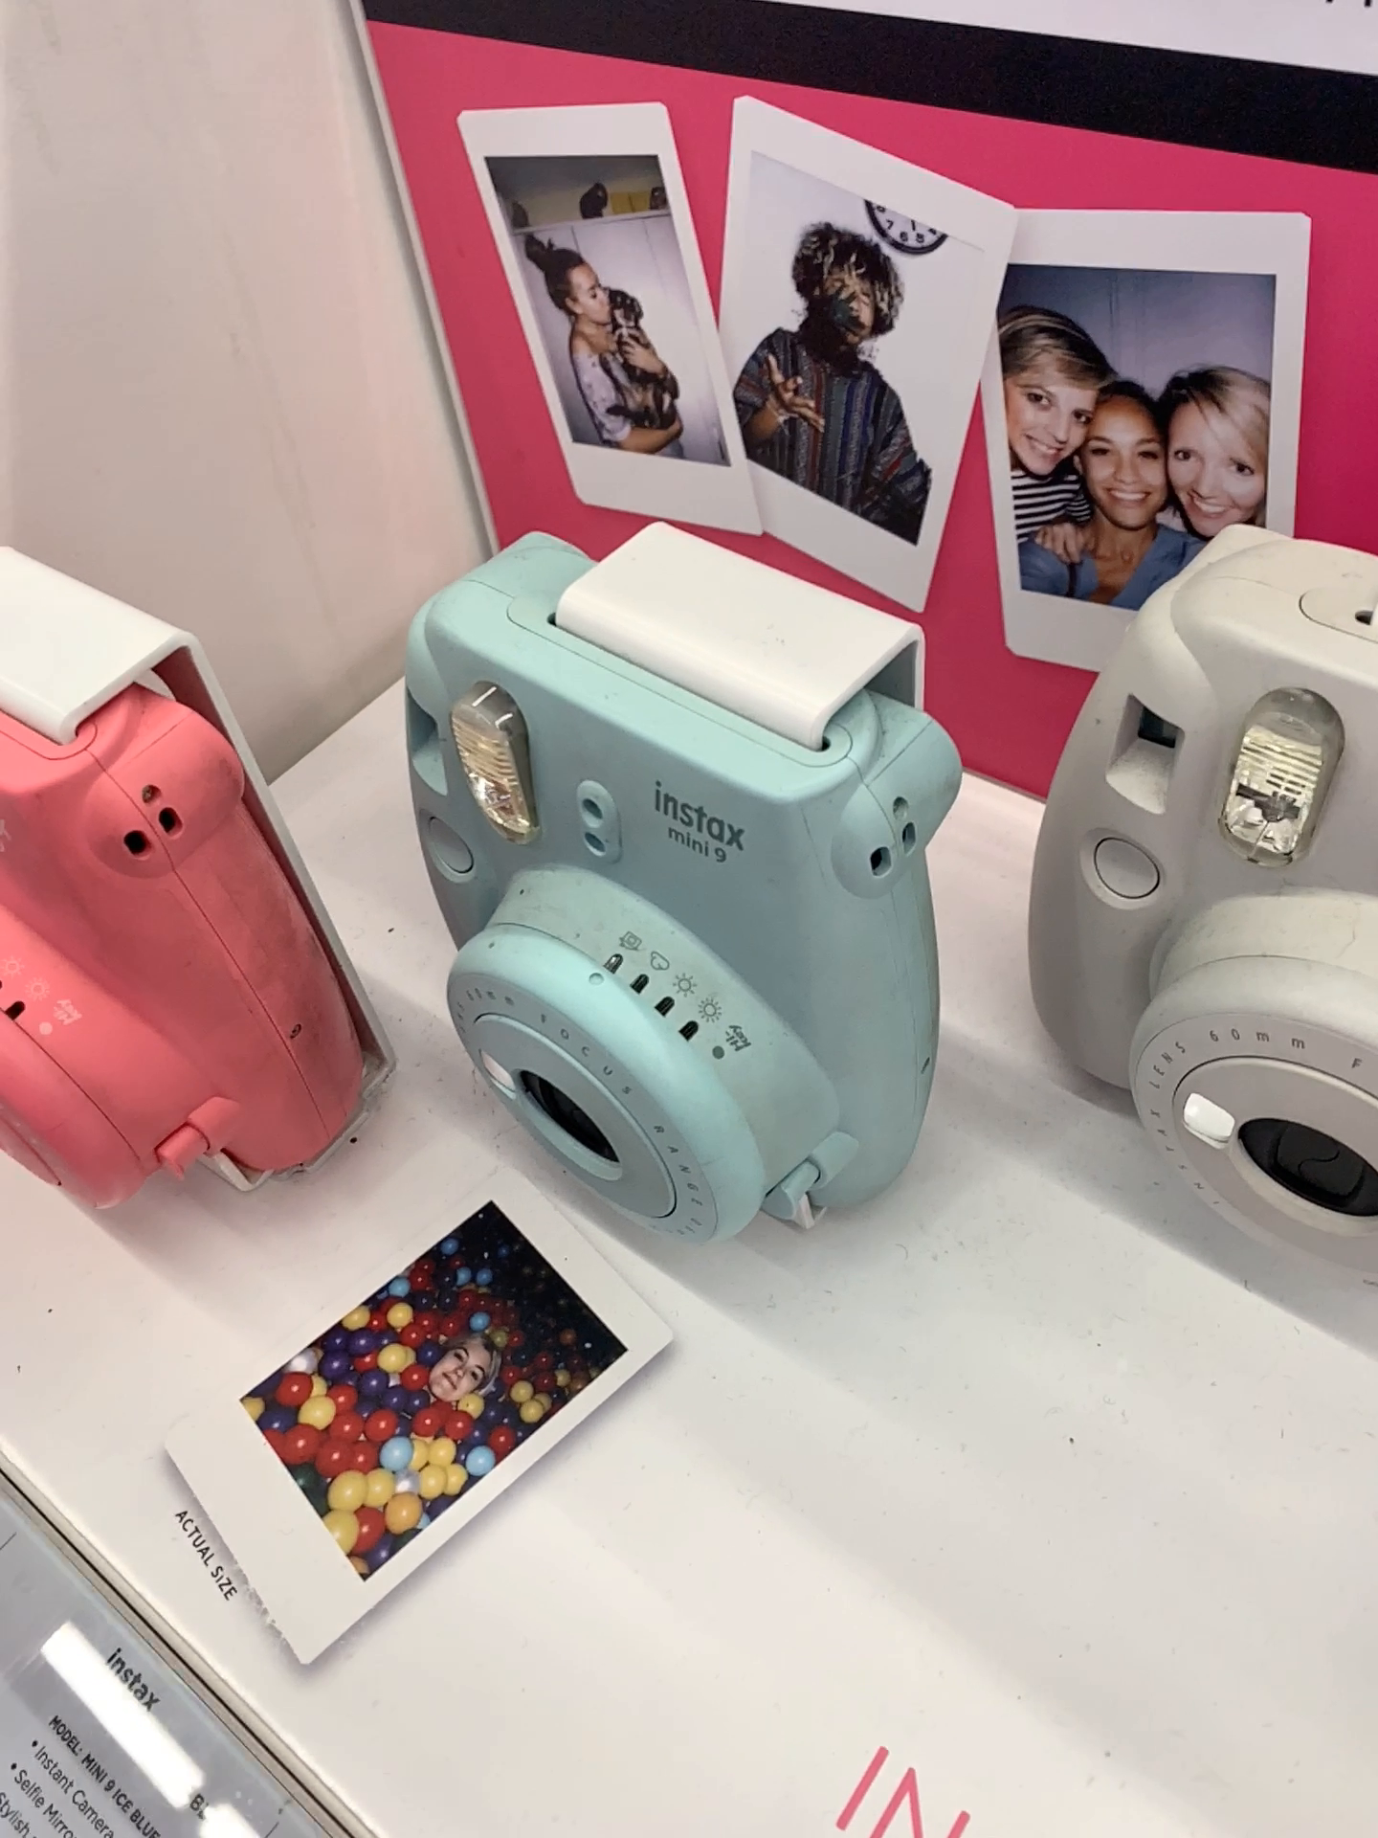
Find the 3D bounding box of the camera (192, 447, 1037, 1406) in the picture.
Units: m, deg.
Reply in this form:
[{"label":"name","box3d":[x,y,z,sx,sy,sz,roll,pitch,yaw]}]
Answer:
[{"label":"camera","box3d":[-0.008,0.003,0.262,0.111,0.129,0.070,31,60,30]}]
